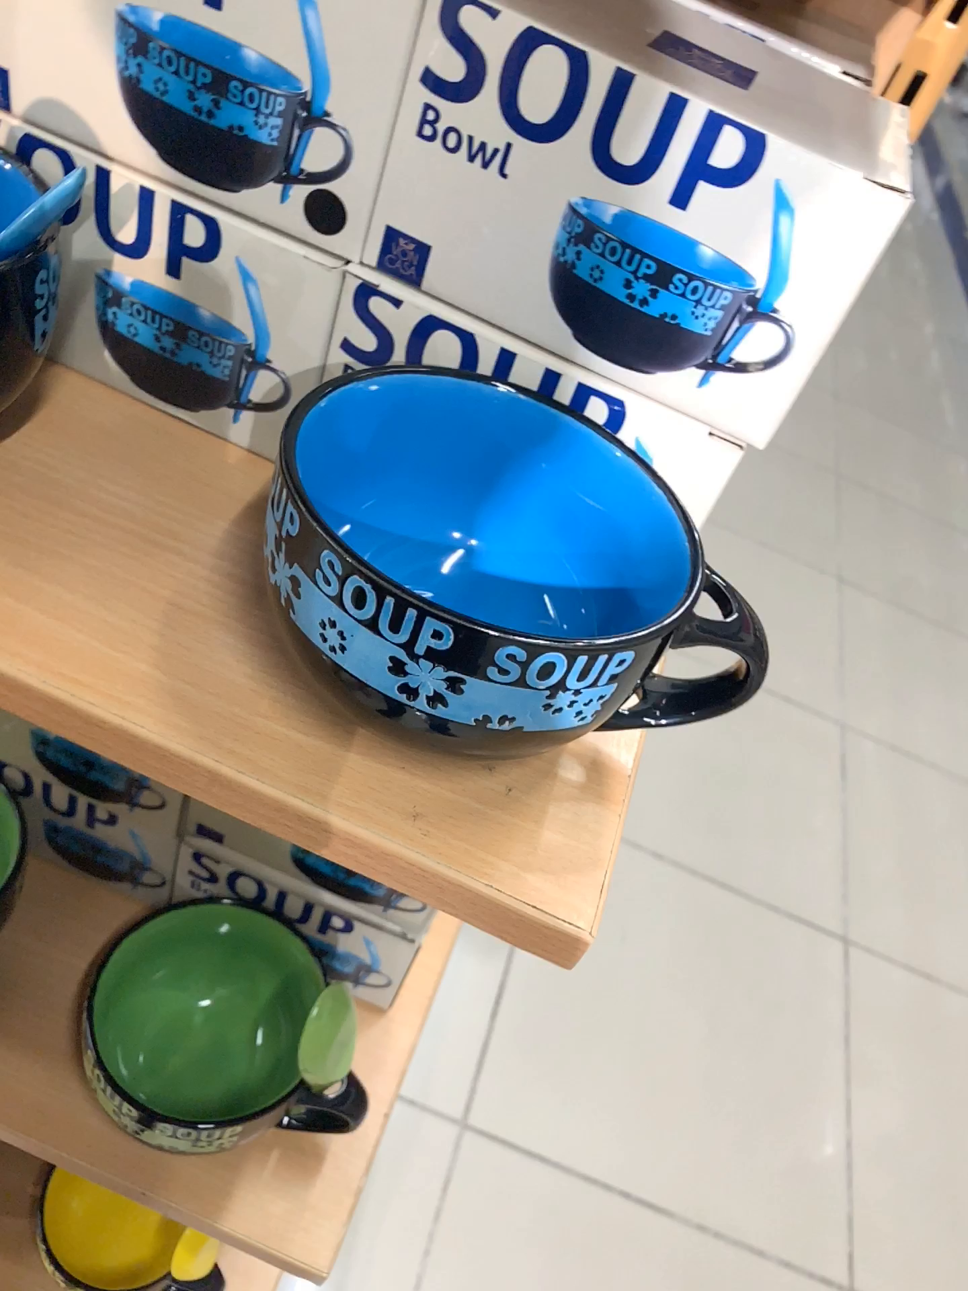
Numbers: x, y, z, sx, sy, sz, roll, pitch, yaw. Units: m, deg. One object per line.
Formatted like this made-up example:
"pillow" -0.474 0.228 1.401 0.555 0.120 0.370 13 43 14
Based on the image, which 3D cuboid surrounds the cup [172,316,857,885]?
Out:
"cup" 0.010 -0.015 0.272 0.150 0.060 0.100 19 42 -7
